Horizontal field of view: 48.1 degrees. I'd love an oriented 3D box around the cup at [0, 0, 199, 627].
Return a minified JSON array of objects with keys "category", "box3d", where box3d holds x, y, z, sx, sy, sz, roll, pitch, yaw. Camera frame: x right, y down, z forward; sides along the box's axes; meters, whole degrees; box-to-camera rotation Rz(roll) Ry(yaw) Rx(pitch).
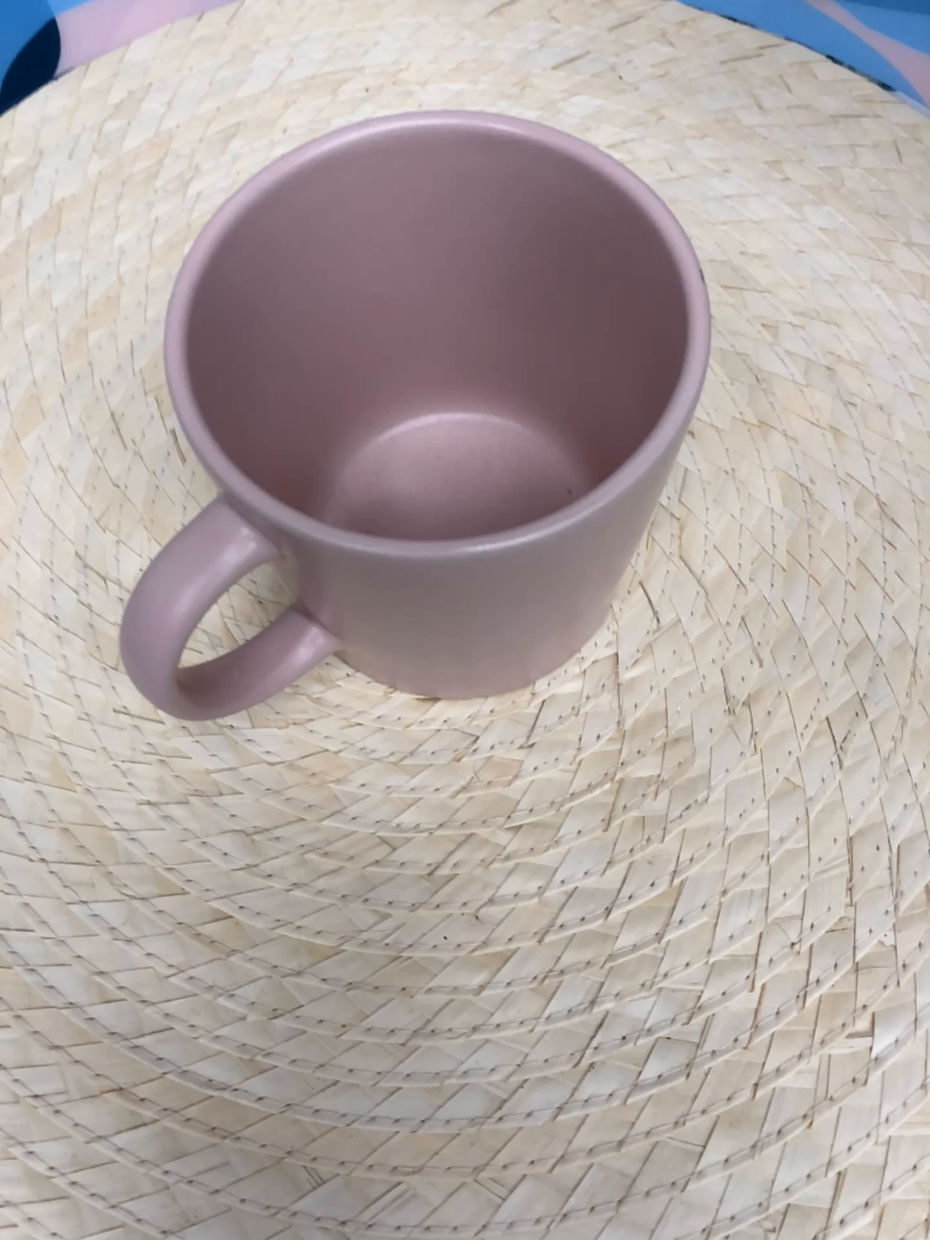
[{"category":"cup","box3d":[-0.147,-0.092,0.207,0.100,0.090,0.130,37,73,18]}]
